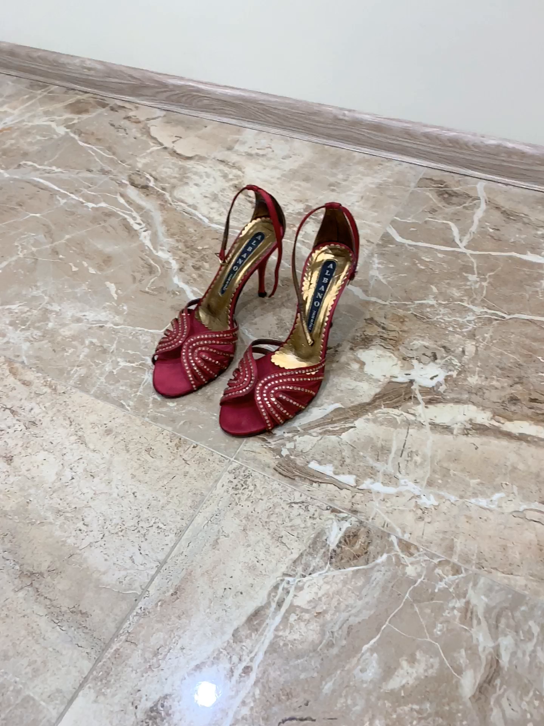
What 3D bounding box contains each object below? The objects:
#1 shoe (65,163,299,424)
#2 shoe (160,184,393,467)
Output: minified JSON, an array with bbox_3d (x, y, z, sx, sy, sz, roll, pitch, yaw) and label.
[{"bbox_3d":[-0.071,-0.076,0.560,0.090,0.129,0.231,25,54,22],"label":"shoe"},{"bbox_3d":[0.015,-0.043,0.525,0.090,0.129,0.231,25,54,22],"label":"shoe"}]
